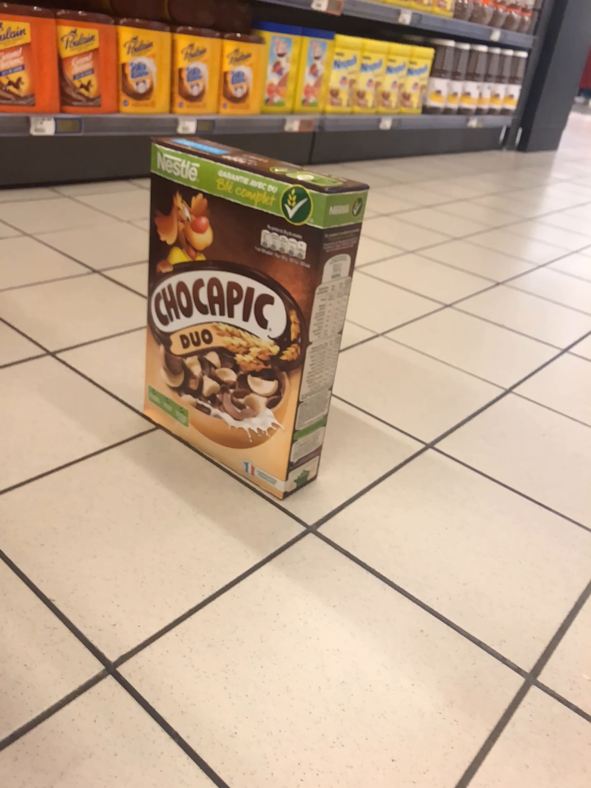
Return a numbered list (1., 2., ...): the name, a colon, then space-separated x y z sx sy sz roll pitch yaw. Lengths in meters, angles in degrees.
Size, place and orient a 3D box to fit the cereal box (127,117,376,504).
1. cereal box: -0.057 -0.076 0.575 0.200 0.278 0.060 27 31 31
